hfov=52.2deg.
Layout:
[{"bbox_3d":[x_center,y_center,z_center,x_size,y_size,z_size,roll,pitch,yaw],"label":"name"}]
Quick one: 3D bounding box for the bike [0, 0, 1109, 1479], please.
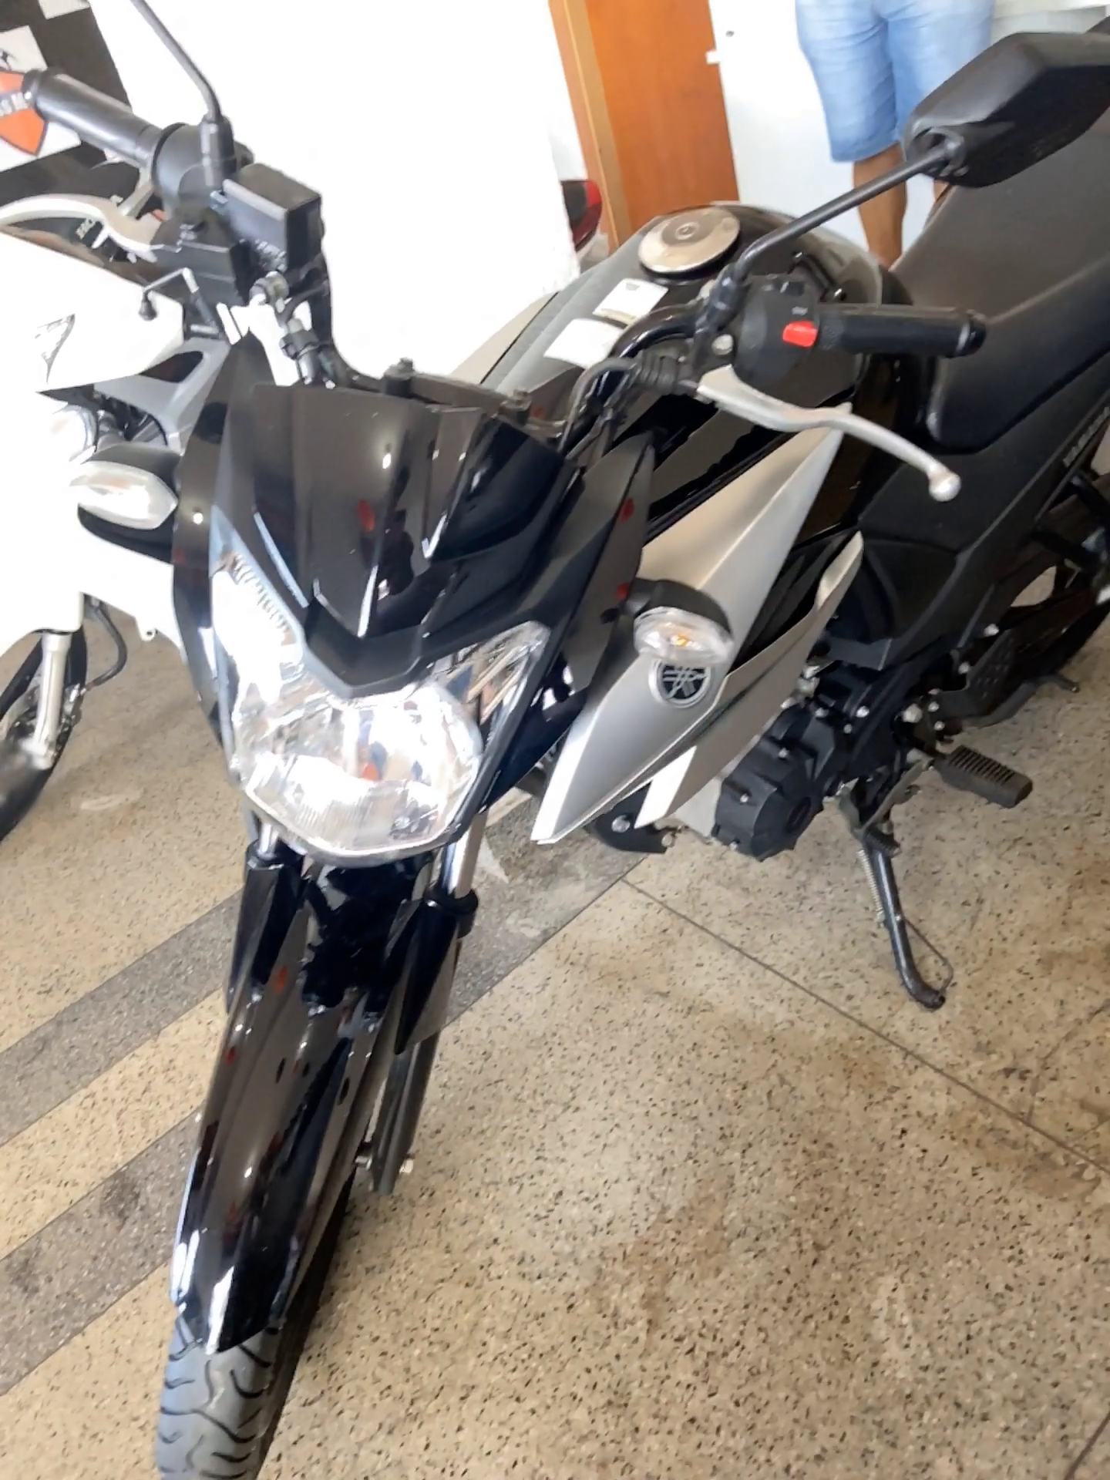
[{"bbox_3d":[0.411,-0.134,1.159,0.817,1.331,2.008,18,47,42],"label":"bike"}]
